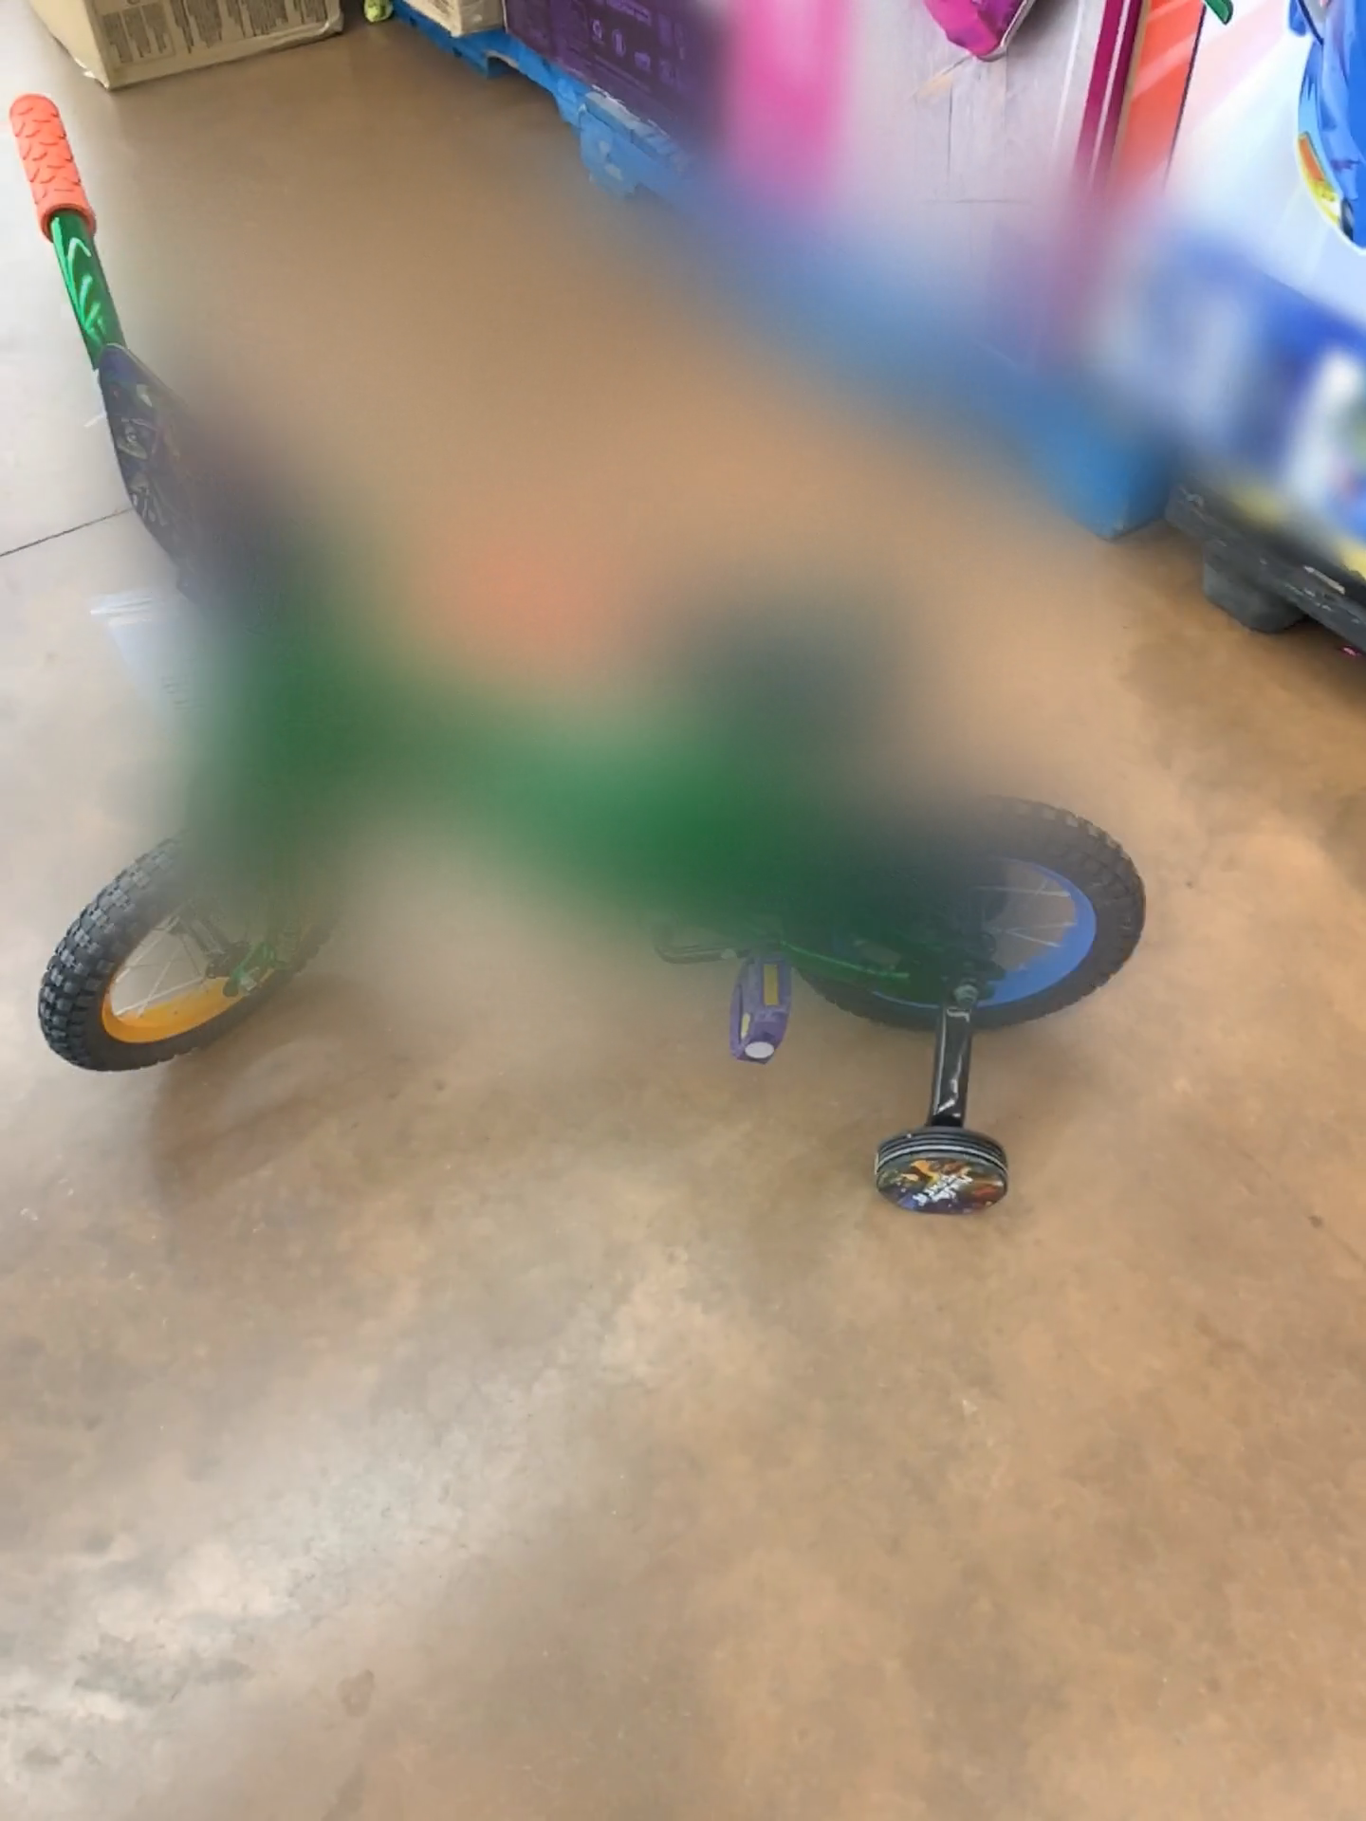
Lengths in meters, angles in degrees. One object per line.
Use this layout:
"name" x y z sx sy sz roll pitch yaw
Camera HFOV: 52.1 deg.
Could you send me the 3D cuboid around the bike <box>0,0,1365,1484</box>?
"bike" -0.040 -0.069 0.879 0.850 0.733 0.490 -5 52 -7
